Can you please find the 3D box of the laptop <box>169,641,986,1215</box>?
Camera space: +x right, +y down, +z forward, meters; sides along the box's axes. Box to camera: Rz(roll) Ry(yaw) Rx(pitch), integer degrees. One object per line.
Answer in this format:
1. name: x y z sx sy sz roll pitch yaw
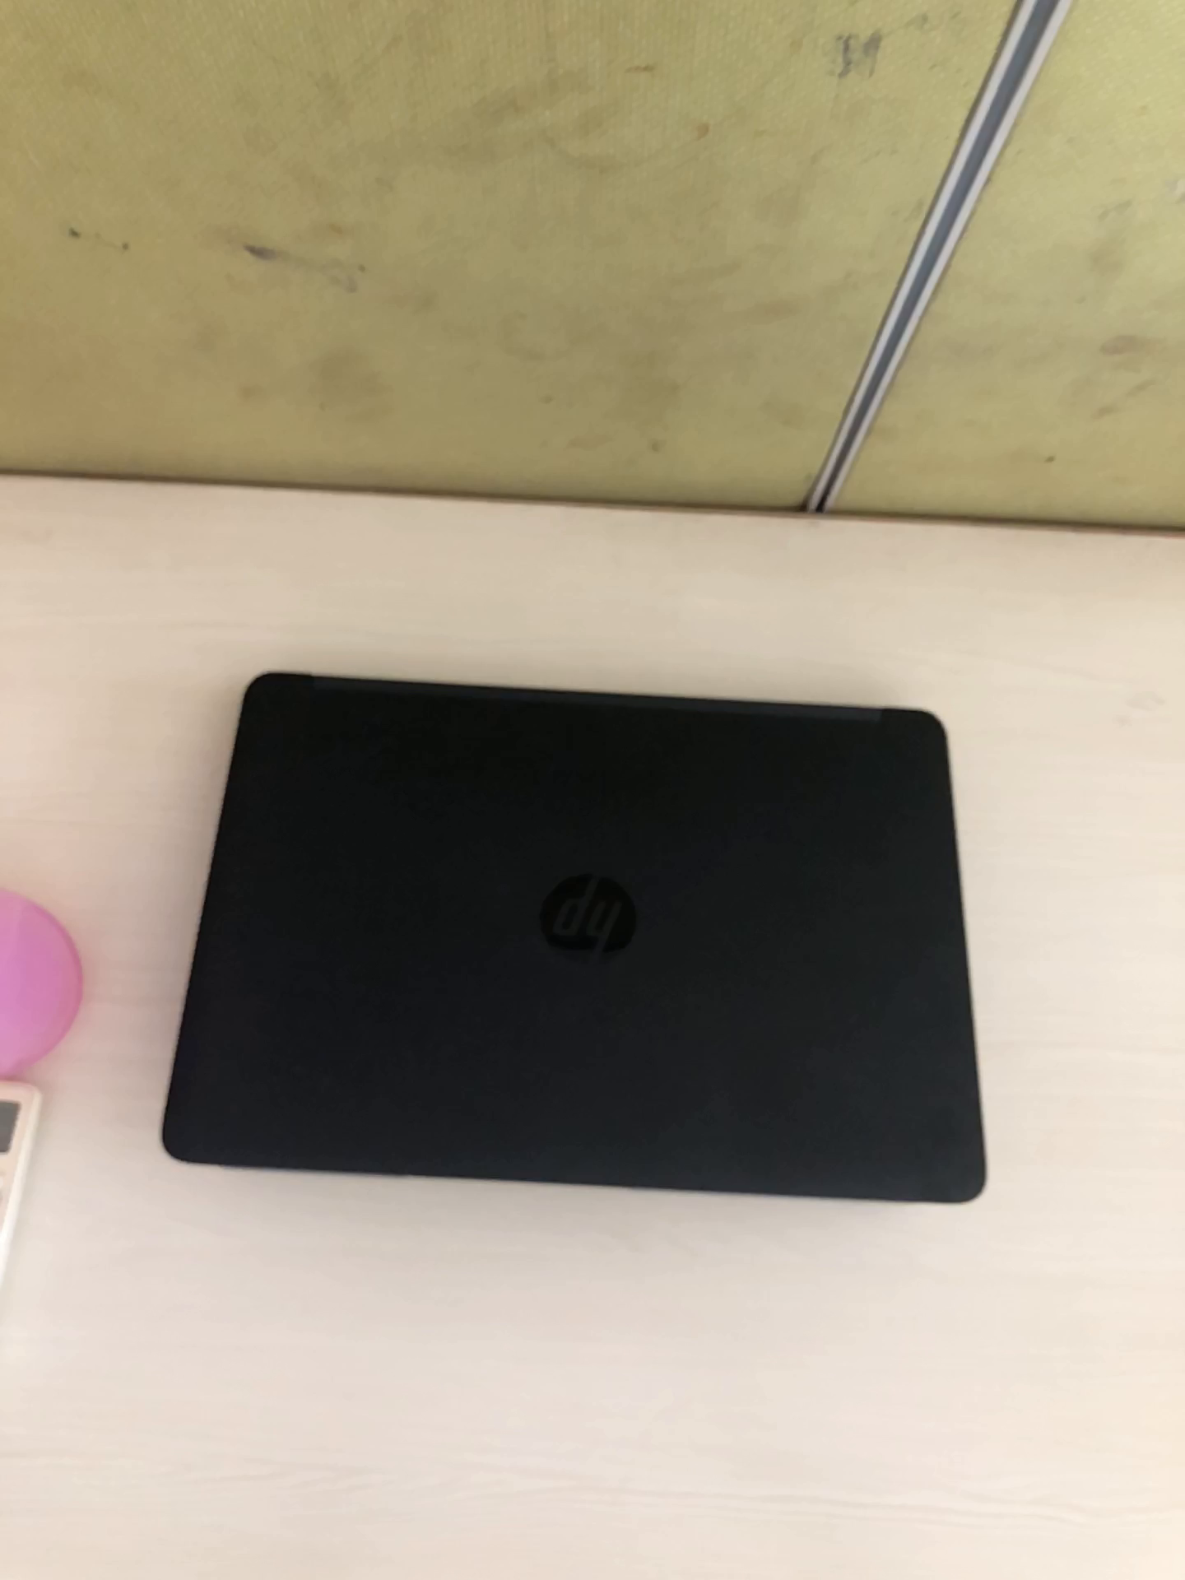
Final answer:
1. laptop: 0.001 0.060 0.587 0.330 0.050 0.226 4 78 0
